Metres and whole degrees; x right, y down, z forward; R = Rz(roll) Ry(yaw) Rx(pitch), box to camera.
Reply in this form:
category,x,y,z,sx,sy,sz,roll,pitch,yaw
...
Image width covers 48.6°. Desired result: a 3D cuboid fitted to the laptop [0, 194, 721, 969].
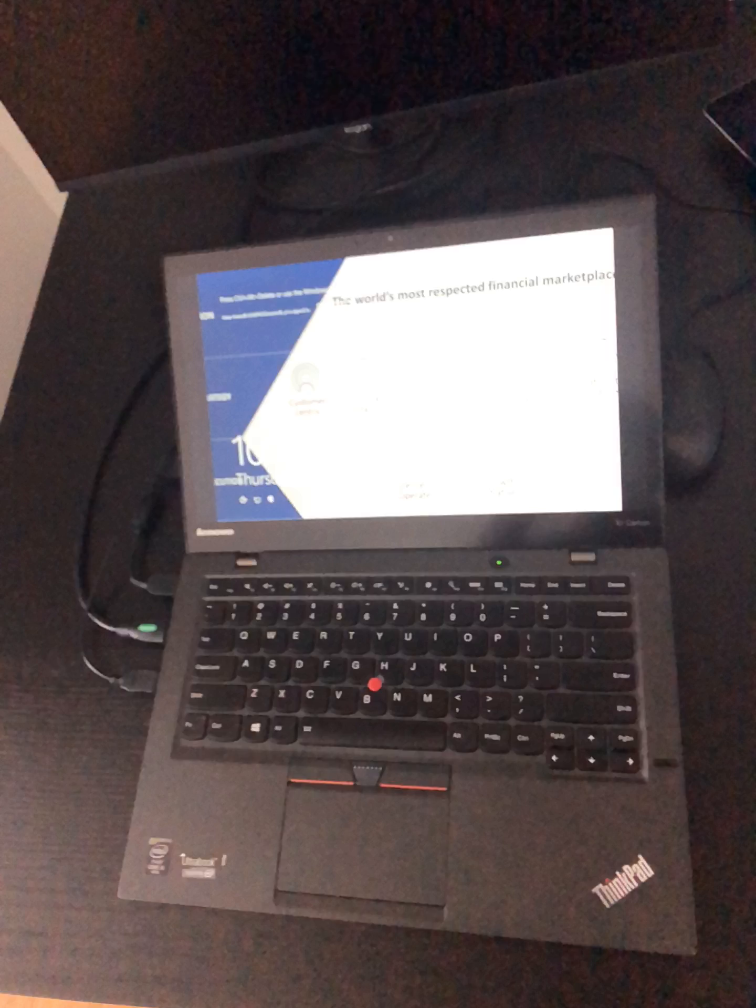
category,x,y,z,sx,sy,sz,roll,pitch,yaw
laptop,0.003,0.027,0.489,0.323,0.117,0.389,-1,65,14
